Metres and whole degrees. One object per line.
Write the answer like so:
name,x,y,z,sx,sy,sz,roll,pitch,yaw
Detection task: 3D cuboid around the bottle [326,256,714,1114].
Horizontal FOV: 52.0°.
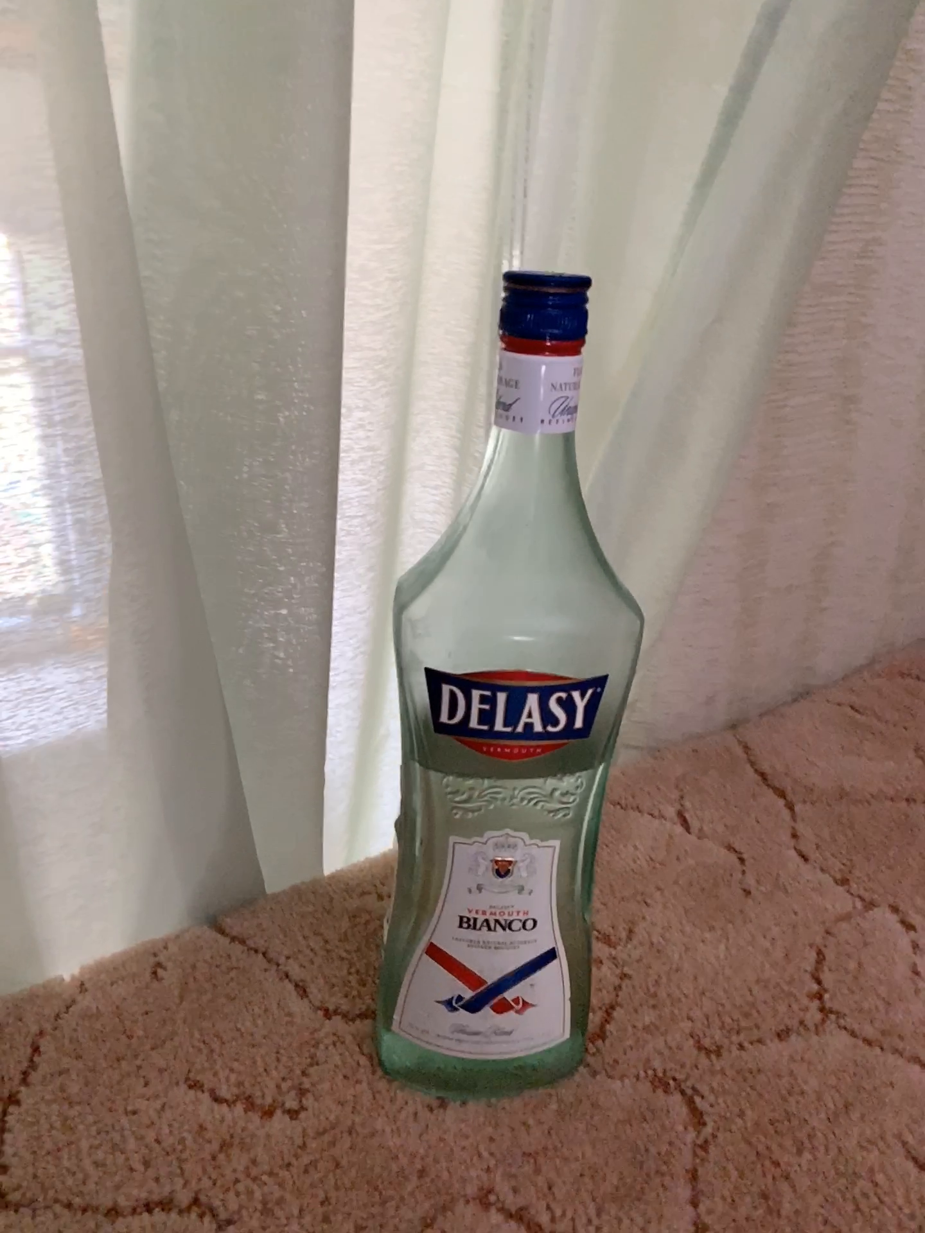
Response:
bottle,0.012,0.041,0.360,0.110,0.327,0.060,2,23,1
